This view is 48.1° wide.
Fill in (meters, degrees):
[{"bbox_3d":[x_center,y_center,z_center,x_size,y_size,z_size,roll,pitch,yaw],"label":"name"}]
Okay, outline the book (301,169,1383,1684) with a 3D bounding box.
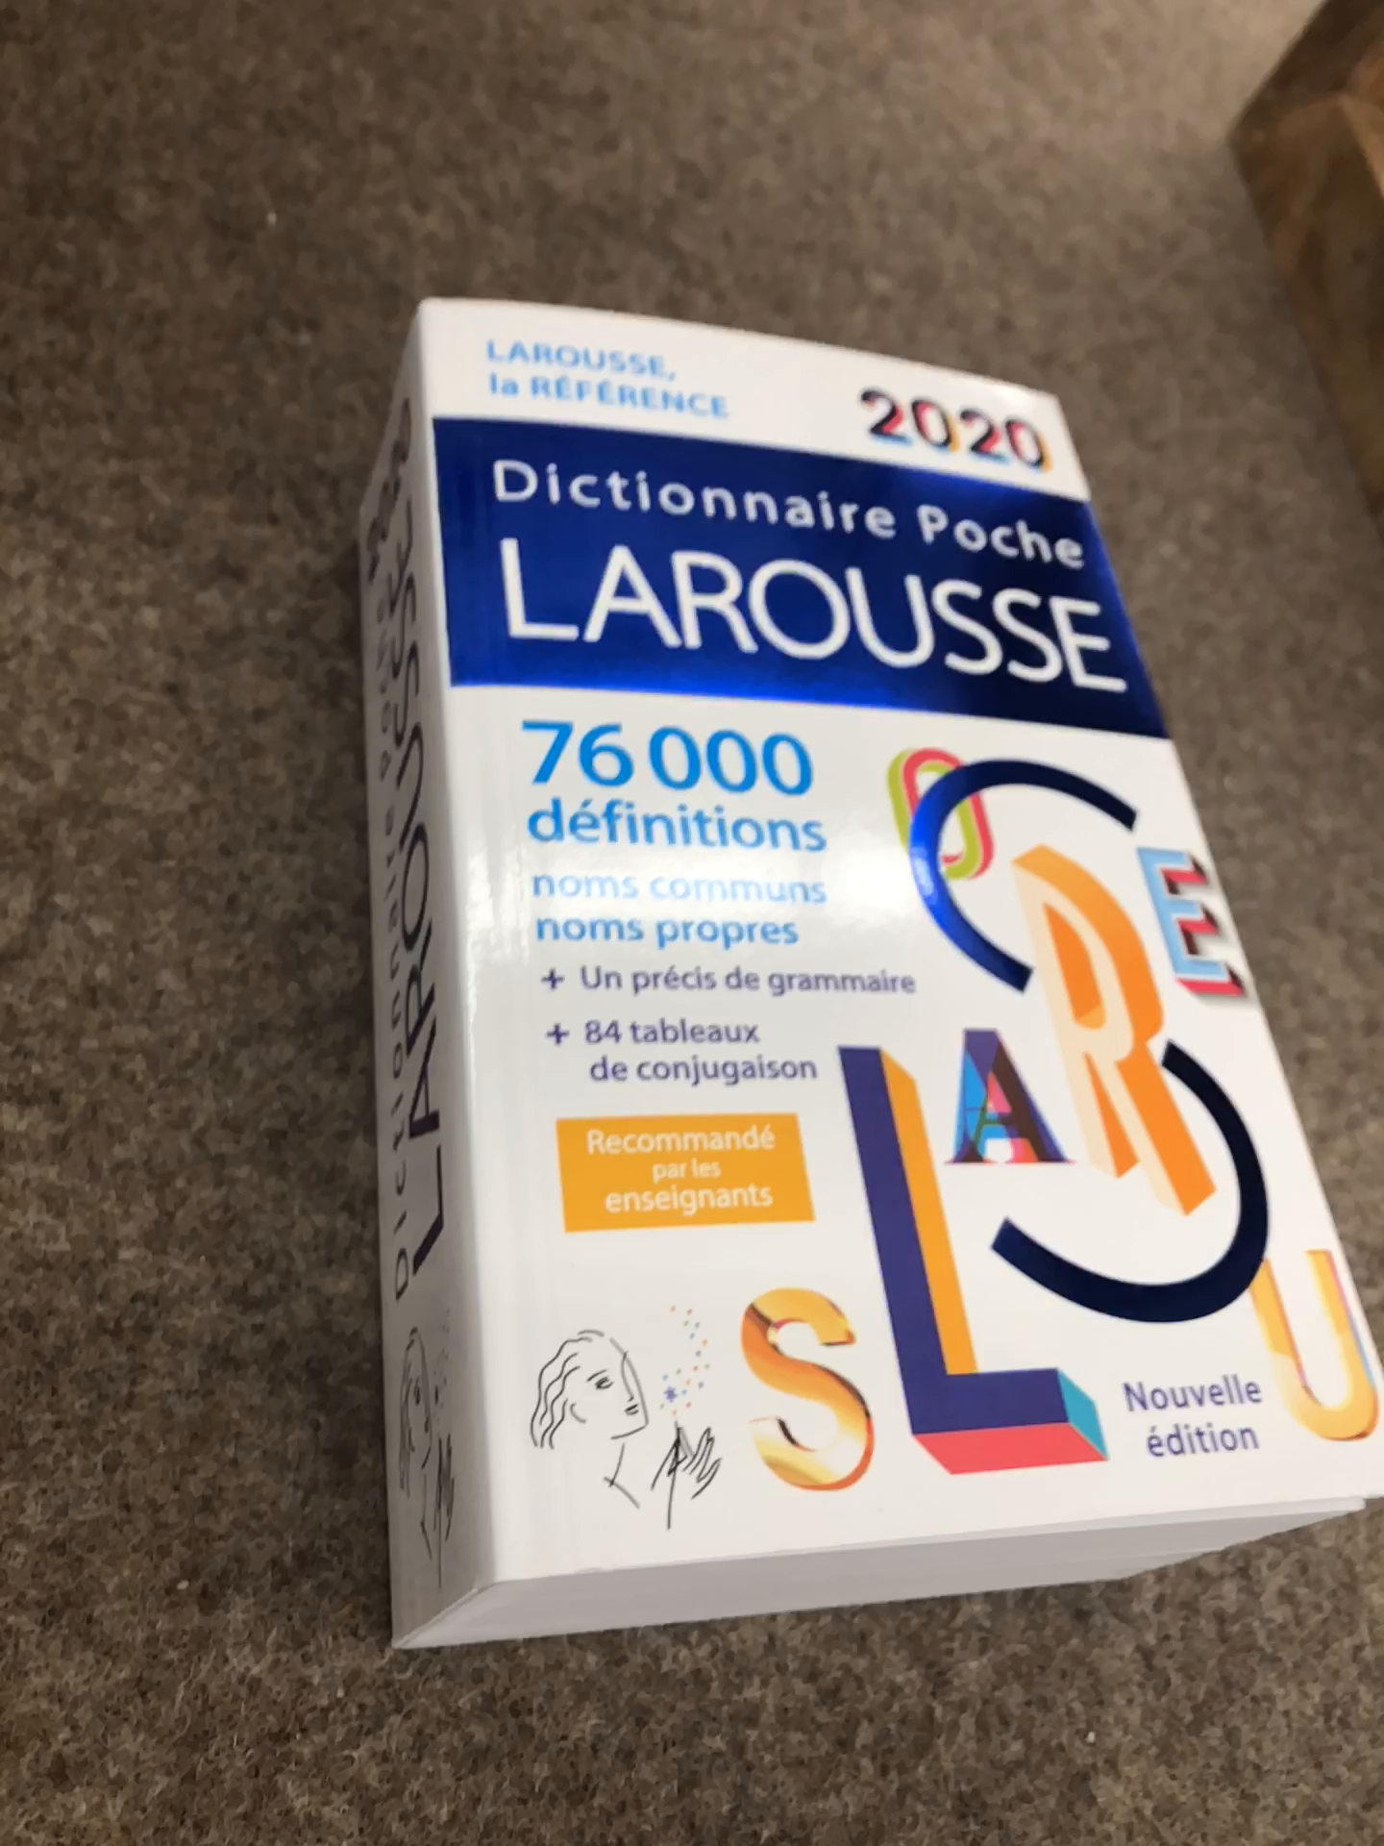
[{"bbox_3d":[0.012,-0.005,0.218,0.117,0.060,0.184,5,58,-24],"label":"book"}]
